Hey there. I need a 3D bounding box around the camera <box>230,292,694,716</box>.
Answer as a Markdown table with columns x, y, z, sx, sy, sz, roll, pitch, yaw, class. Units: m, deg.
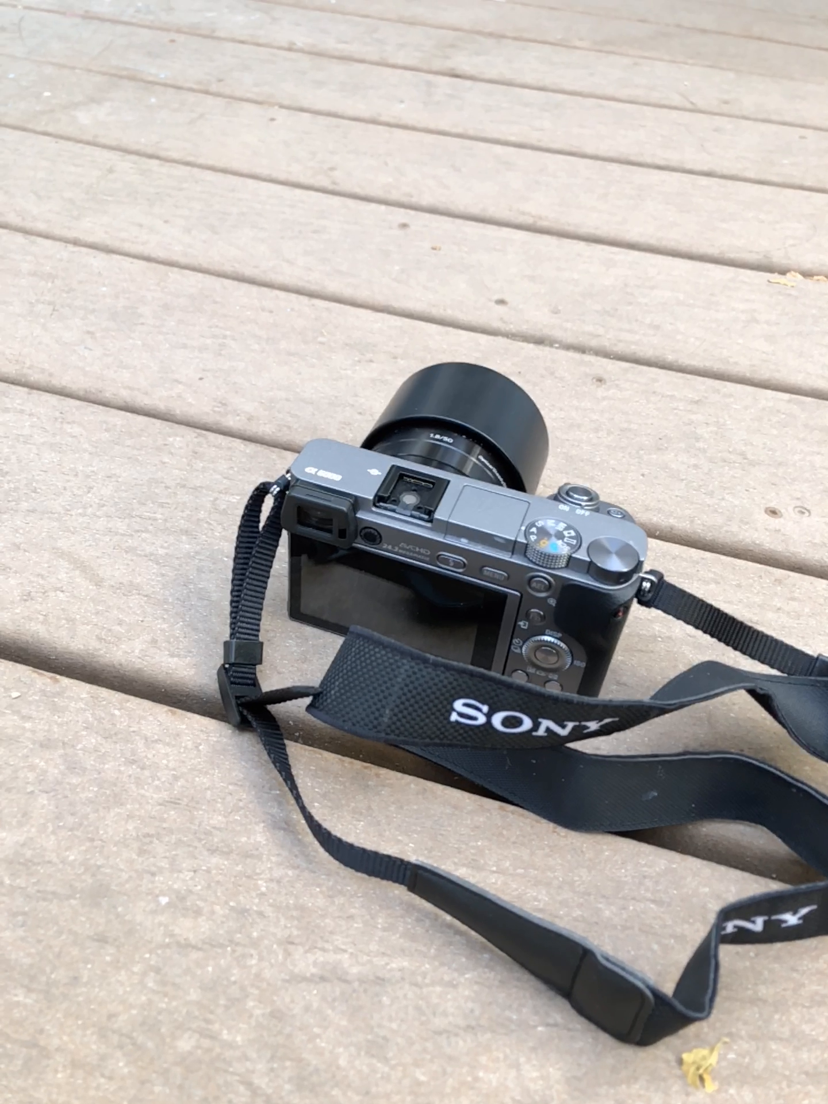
| x | y | z | sx | sy | sz | roll | pitch | yaw | class |
| --- | --- | --- | --- | --- | --- | --- | --- | --- | --- |
| 0.021 | -0.024 | 0.328 | 0.130 | 0.070 | 0.111 | 15 | 44 | 10 | camera |
